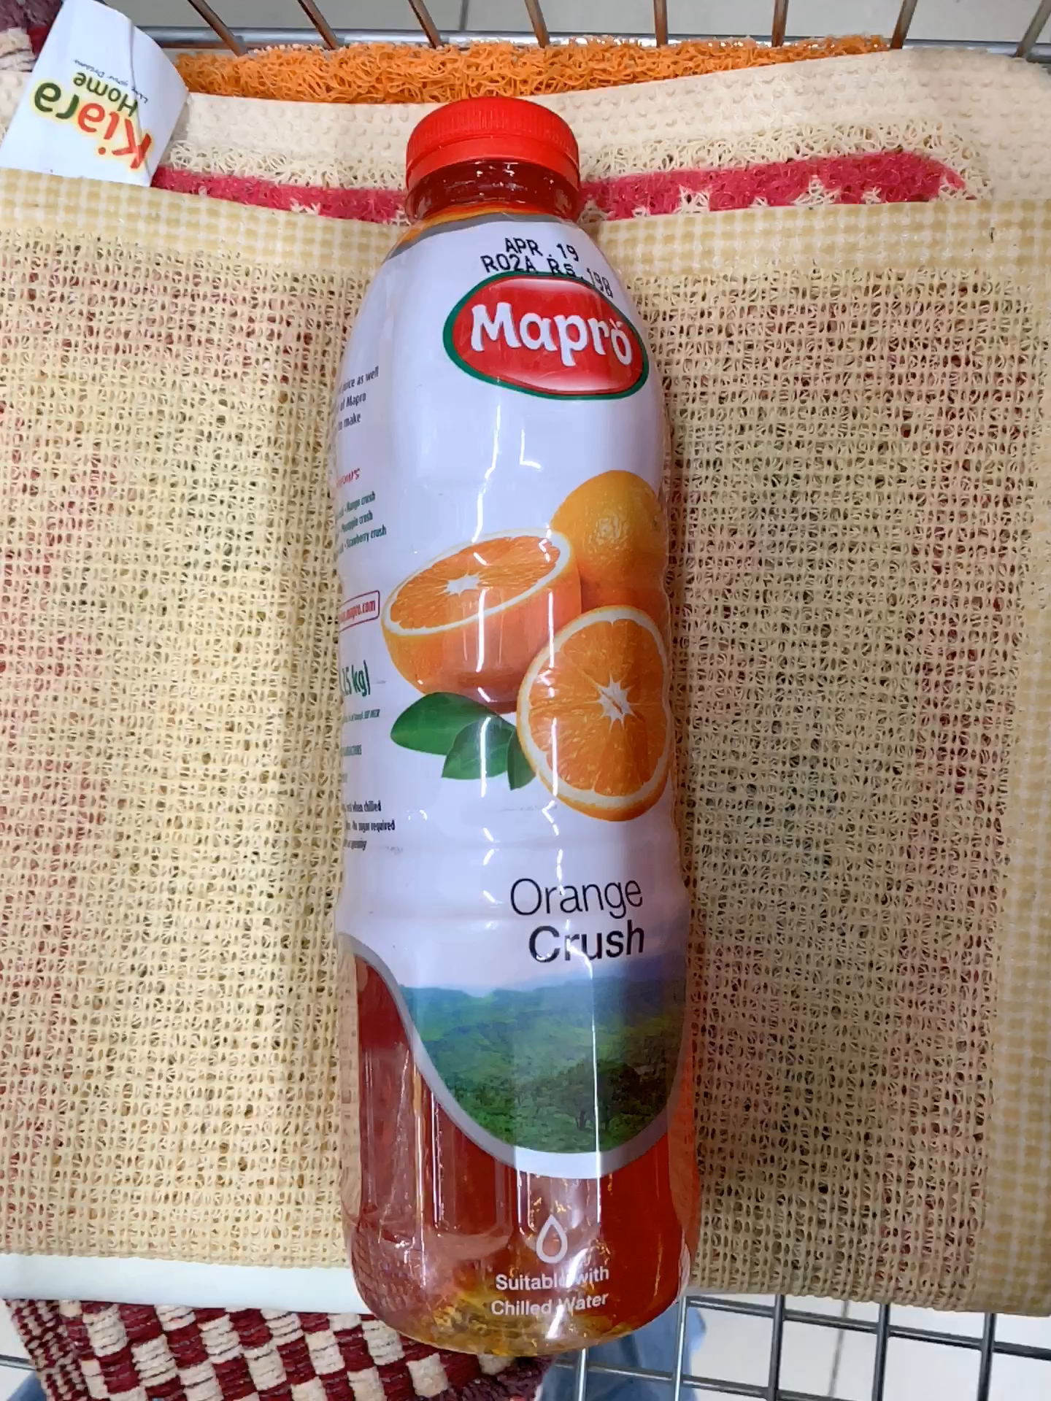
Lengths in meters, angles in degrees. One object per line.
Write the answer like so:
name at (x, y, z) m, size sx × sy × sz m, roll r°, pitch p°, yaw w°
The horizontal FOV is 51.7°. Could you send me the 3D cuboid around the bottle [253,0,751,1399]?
bottle at (-0.008, -0.009, 0.219) m, size 0.080 × 0.070 × 0.240 m, roll 1°, pitch 87°, yaw -19°
